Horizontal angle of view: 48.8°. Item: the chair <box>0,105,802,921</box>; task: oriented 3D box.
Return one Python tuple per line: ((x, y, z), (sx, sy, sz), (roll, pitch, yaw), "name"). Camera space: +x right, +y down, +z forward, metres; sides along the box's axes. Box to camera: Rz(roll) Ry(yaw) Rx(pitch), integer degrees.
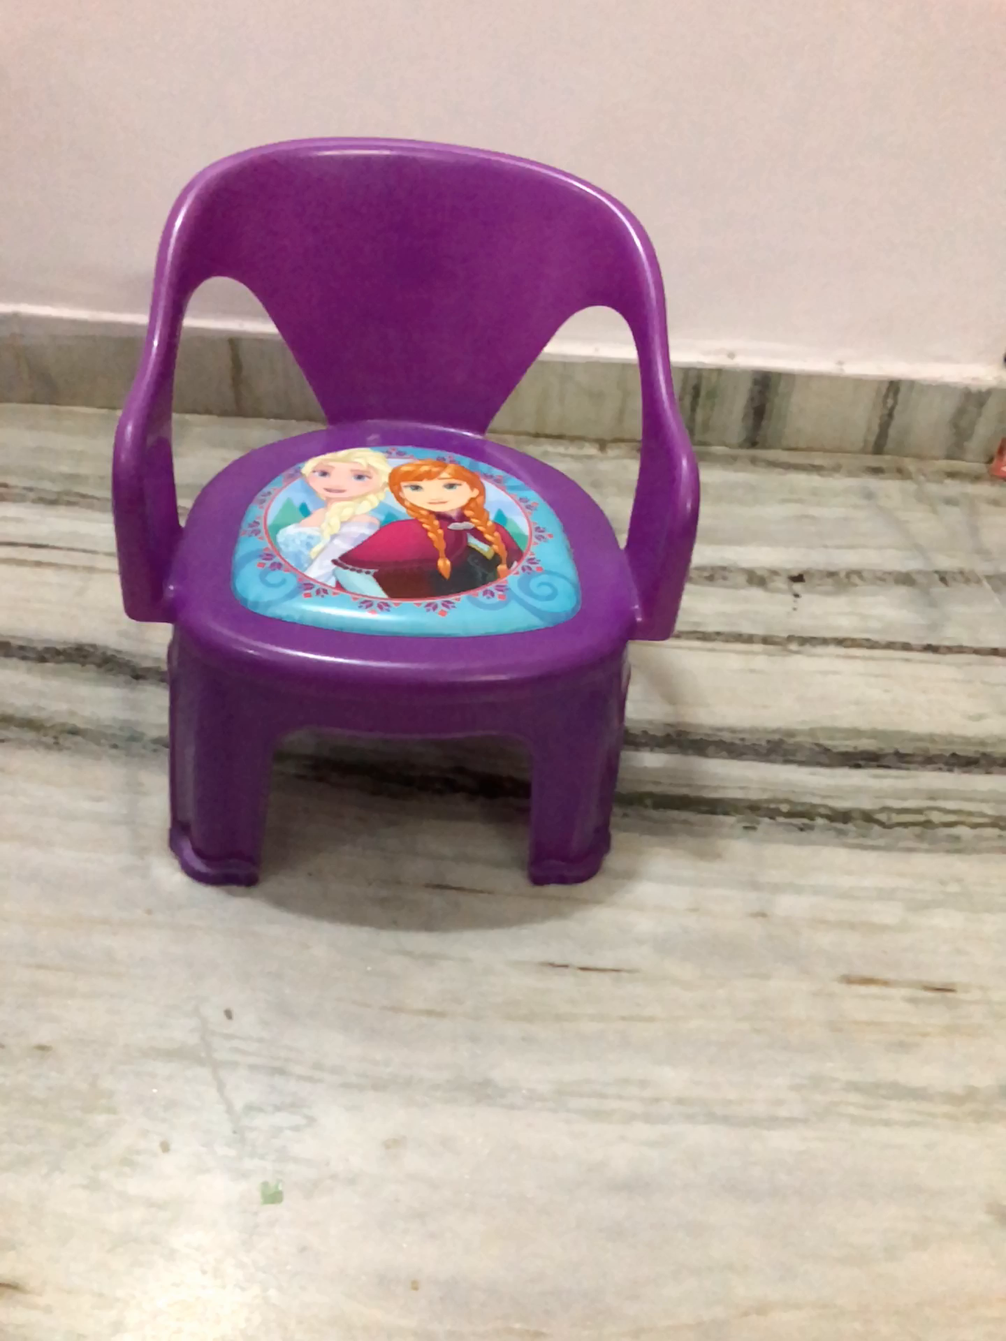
((-0.068, -0.111, 0.725), (0.350, 0.347, 0.393), (3, 40, -5), "chair")
